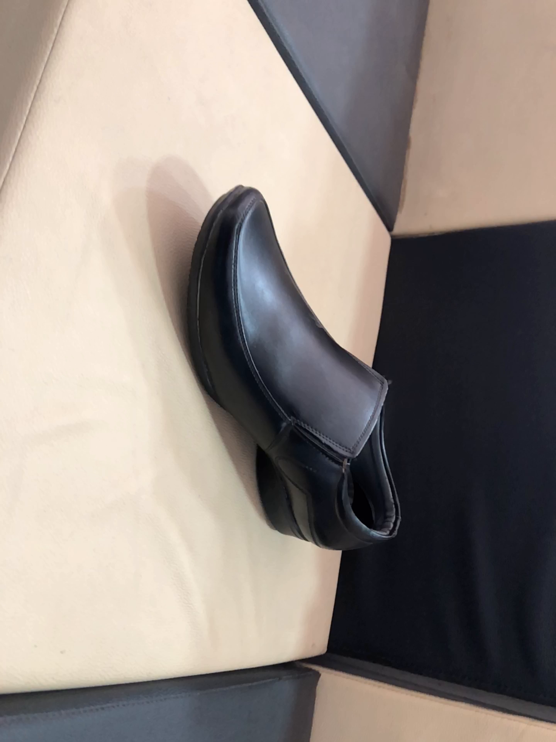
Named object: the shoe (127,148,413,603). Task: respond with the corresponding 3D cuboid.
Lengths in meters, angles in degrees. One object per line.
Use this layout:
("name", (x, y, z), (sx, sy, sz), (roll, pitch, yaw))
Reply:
("shoe", (0.015, 0.018, 0.459), (0.100, 0.099, 0.321), (-53, 135, -46))
